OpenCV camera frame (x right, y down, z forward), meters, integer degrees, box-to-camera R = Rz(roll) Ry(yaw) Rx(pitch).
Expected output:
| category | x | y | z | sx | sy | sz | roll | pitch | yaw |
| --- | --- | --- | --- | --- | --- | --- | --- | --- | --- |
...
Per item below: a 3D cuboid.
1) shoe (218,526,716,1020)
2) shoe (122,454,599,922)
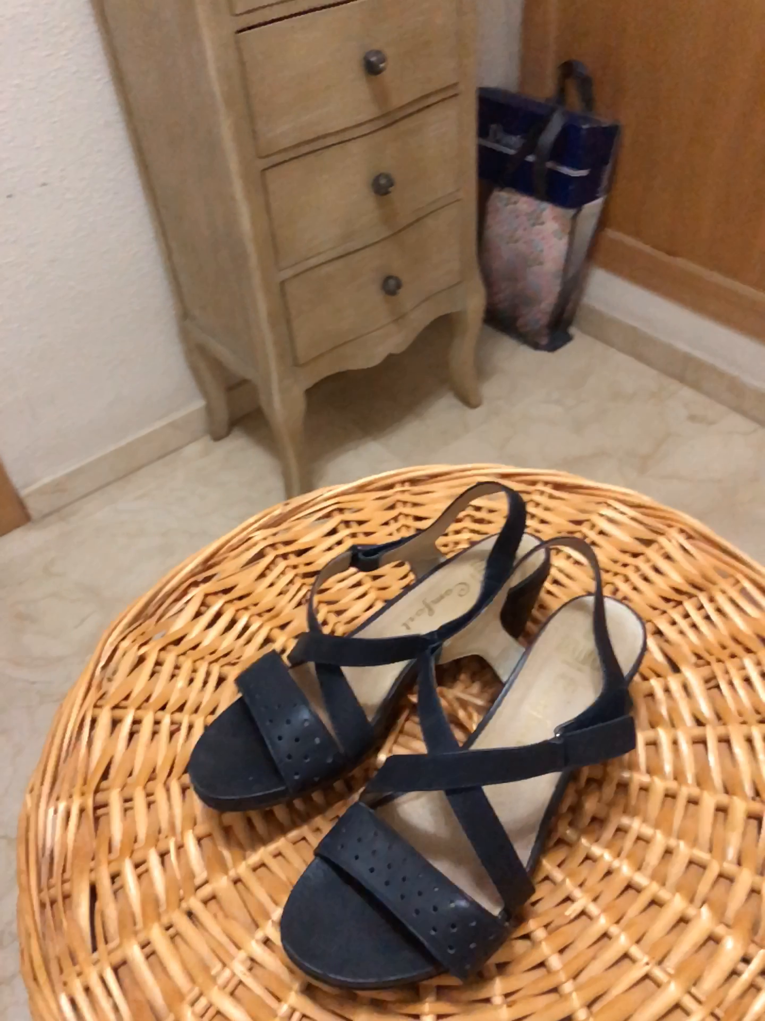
| category | x | y | z | sx | sy | sz | roll | pitch | yaw |
| --- | --- | --- | --- | --- | --- | --- | --- | --- | --- |
| shoe | 0.053 | 0.134 | 0.429 | 0.248 | 0.088 | 0.090 | -41 | 53 | -21 |
| shoe | -0.008 | 0.094 | 0.491 | 0.247 | 0.092 | 0.100 | -40 | 42 | -12 |
